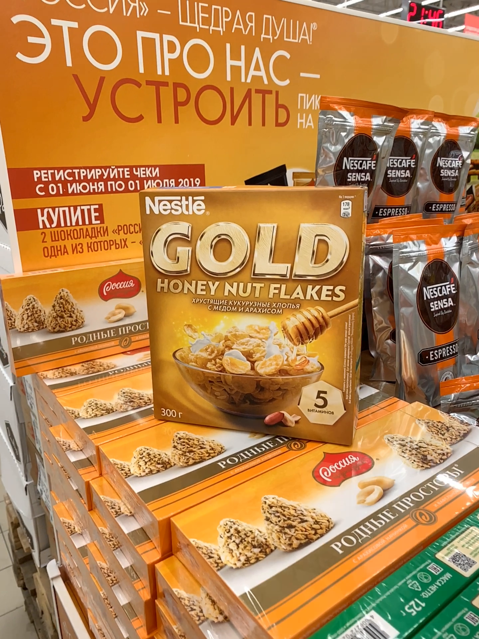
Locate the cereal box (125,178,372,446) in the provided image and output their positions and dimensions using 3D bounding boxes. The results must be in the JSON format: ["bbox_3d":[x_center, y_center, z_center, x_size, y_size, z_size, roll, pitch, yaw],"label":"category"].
[{"bbox_3d":[0.010,-0.012,0.448,0.200,0.219,0.060,4,18,17],"label":"cereal box"}]
